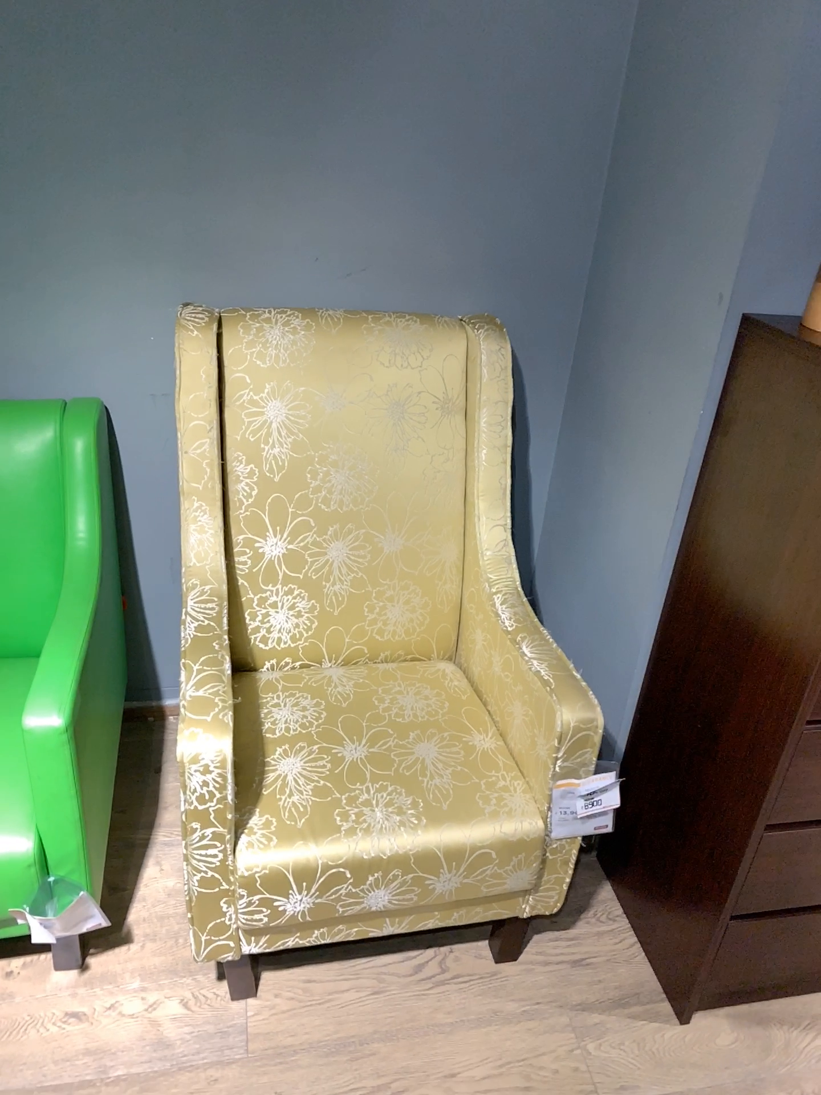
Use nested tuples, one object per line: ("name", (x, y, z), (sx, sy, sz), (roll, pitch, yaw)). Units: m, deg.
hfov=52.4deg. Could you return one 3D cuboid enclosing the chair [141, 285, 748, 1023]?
("chair", (-0.074, 0.117, 1.675), (0.780, 1.026, 0.954), (-1, 28, -13))
